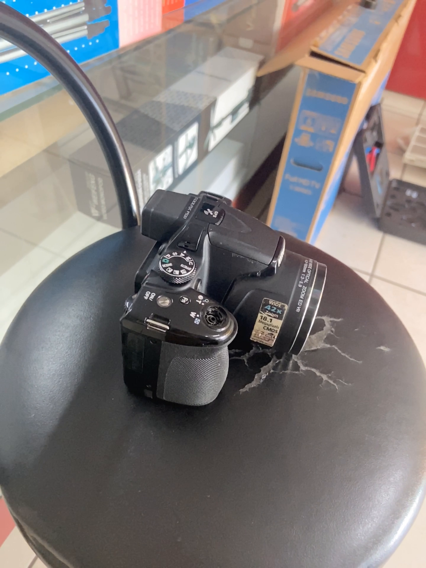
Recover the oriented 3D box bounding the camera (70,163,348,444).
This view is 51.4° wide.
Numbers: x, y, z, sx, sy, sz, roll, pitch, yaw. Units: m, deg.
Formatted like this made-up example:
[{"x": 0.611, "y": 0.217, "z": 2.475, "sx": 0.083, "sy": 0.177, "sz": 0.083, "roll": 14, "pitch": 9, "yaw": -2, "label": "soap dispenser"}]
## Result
[{"x": 0.006, "y": 0.003, "z": 0.267, "sx": 0.120, "sy": 0.070, "sz": 0.131, "roll": 15, "pitch": 46, "yaw": 8, "label": "camera"}]
